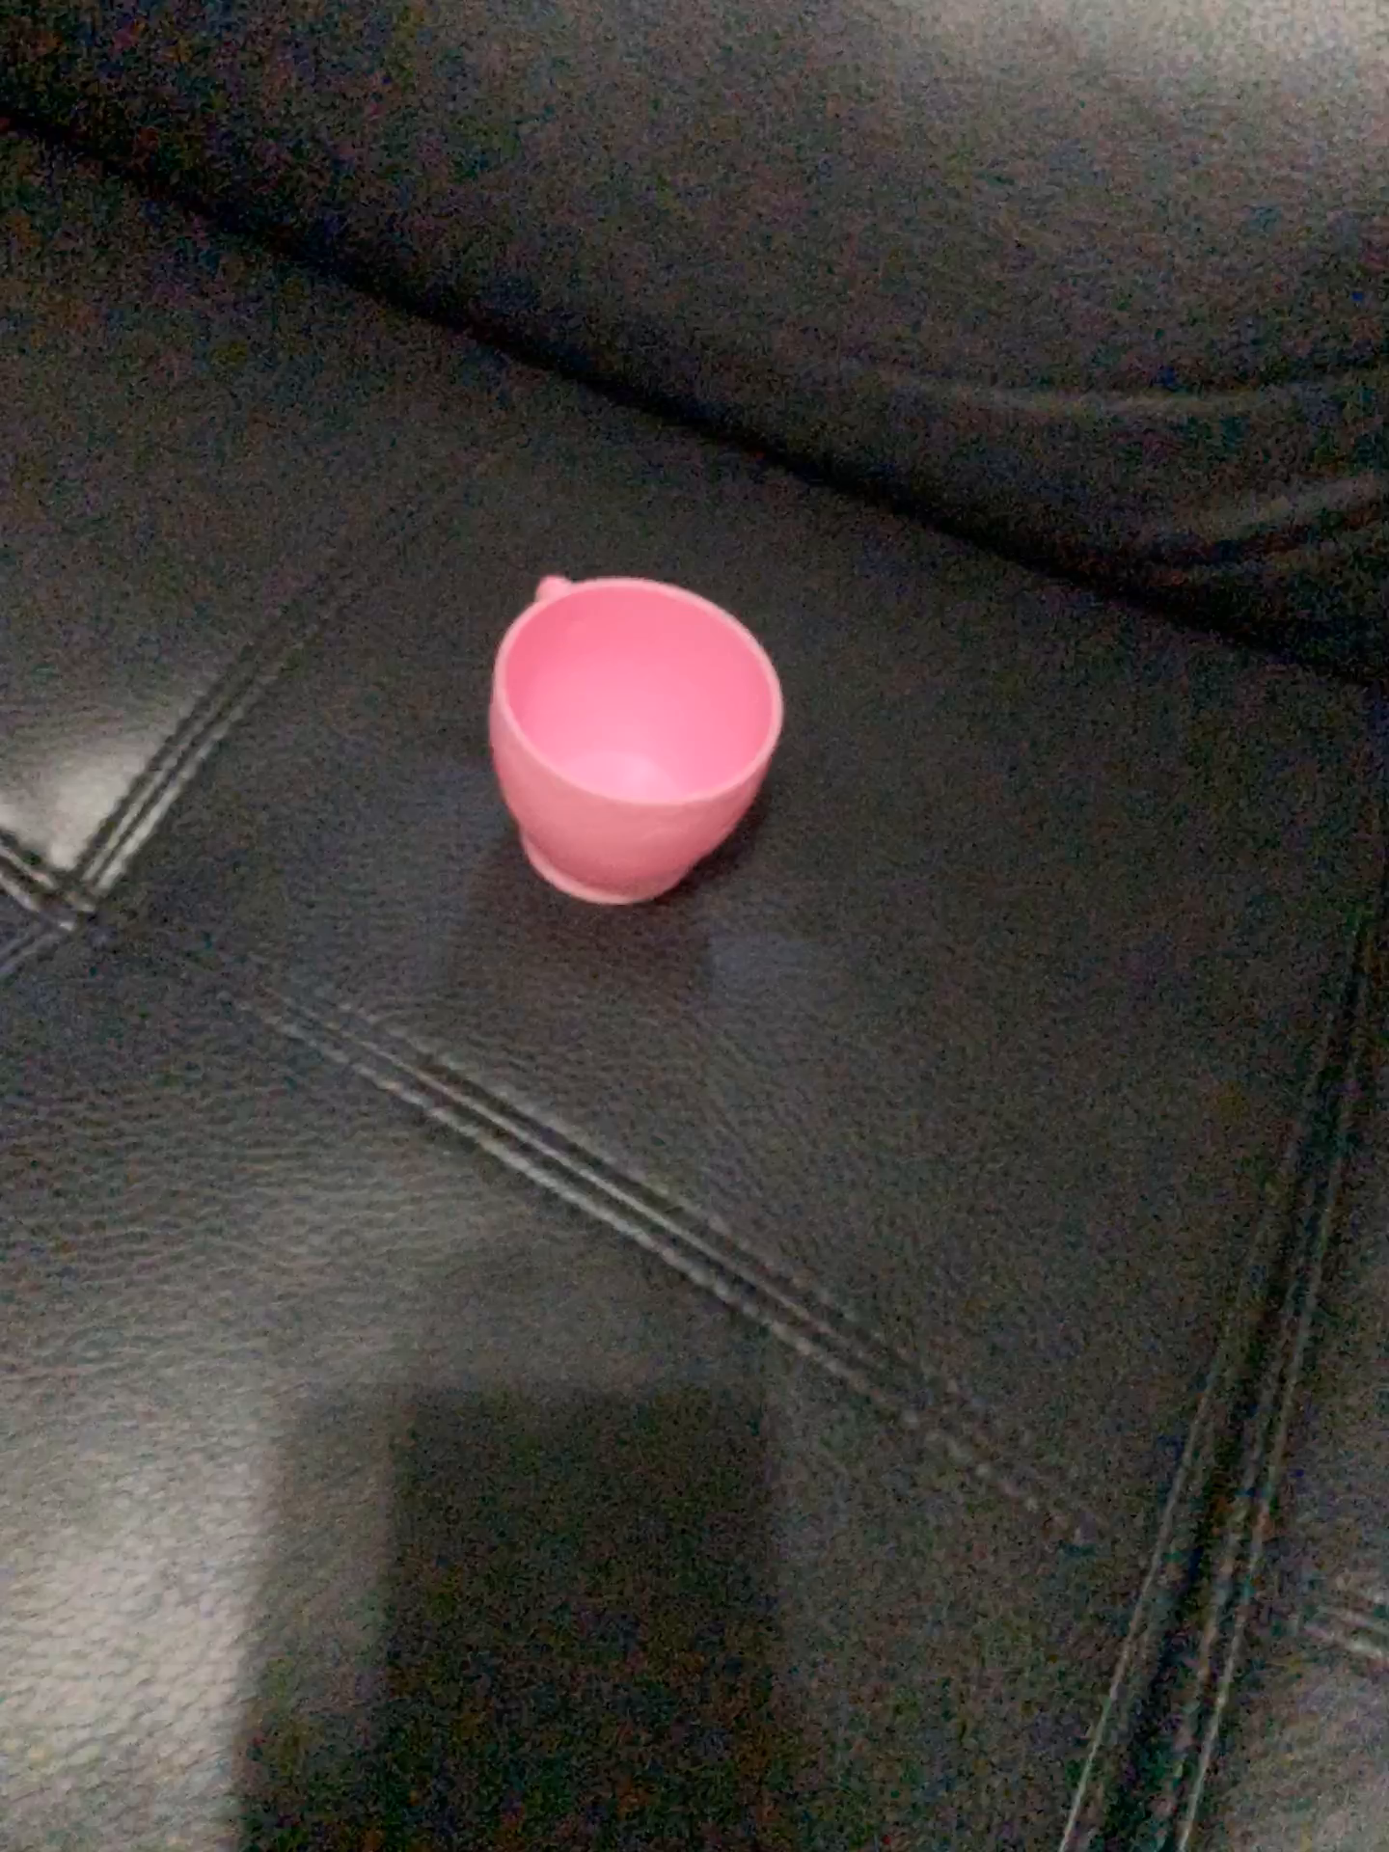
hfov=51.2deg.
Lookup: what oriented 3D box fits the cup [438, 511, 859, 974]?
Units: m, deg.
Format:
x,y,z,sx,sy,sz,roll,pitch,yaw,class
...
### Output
x,y,z,sx,sy,sz,roll,pitch,yaw,class
-0.014,-0.041,0.311,0.061,0.045,0.078,-16,60,-19,cup
